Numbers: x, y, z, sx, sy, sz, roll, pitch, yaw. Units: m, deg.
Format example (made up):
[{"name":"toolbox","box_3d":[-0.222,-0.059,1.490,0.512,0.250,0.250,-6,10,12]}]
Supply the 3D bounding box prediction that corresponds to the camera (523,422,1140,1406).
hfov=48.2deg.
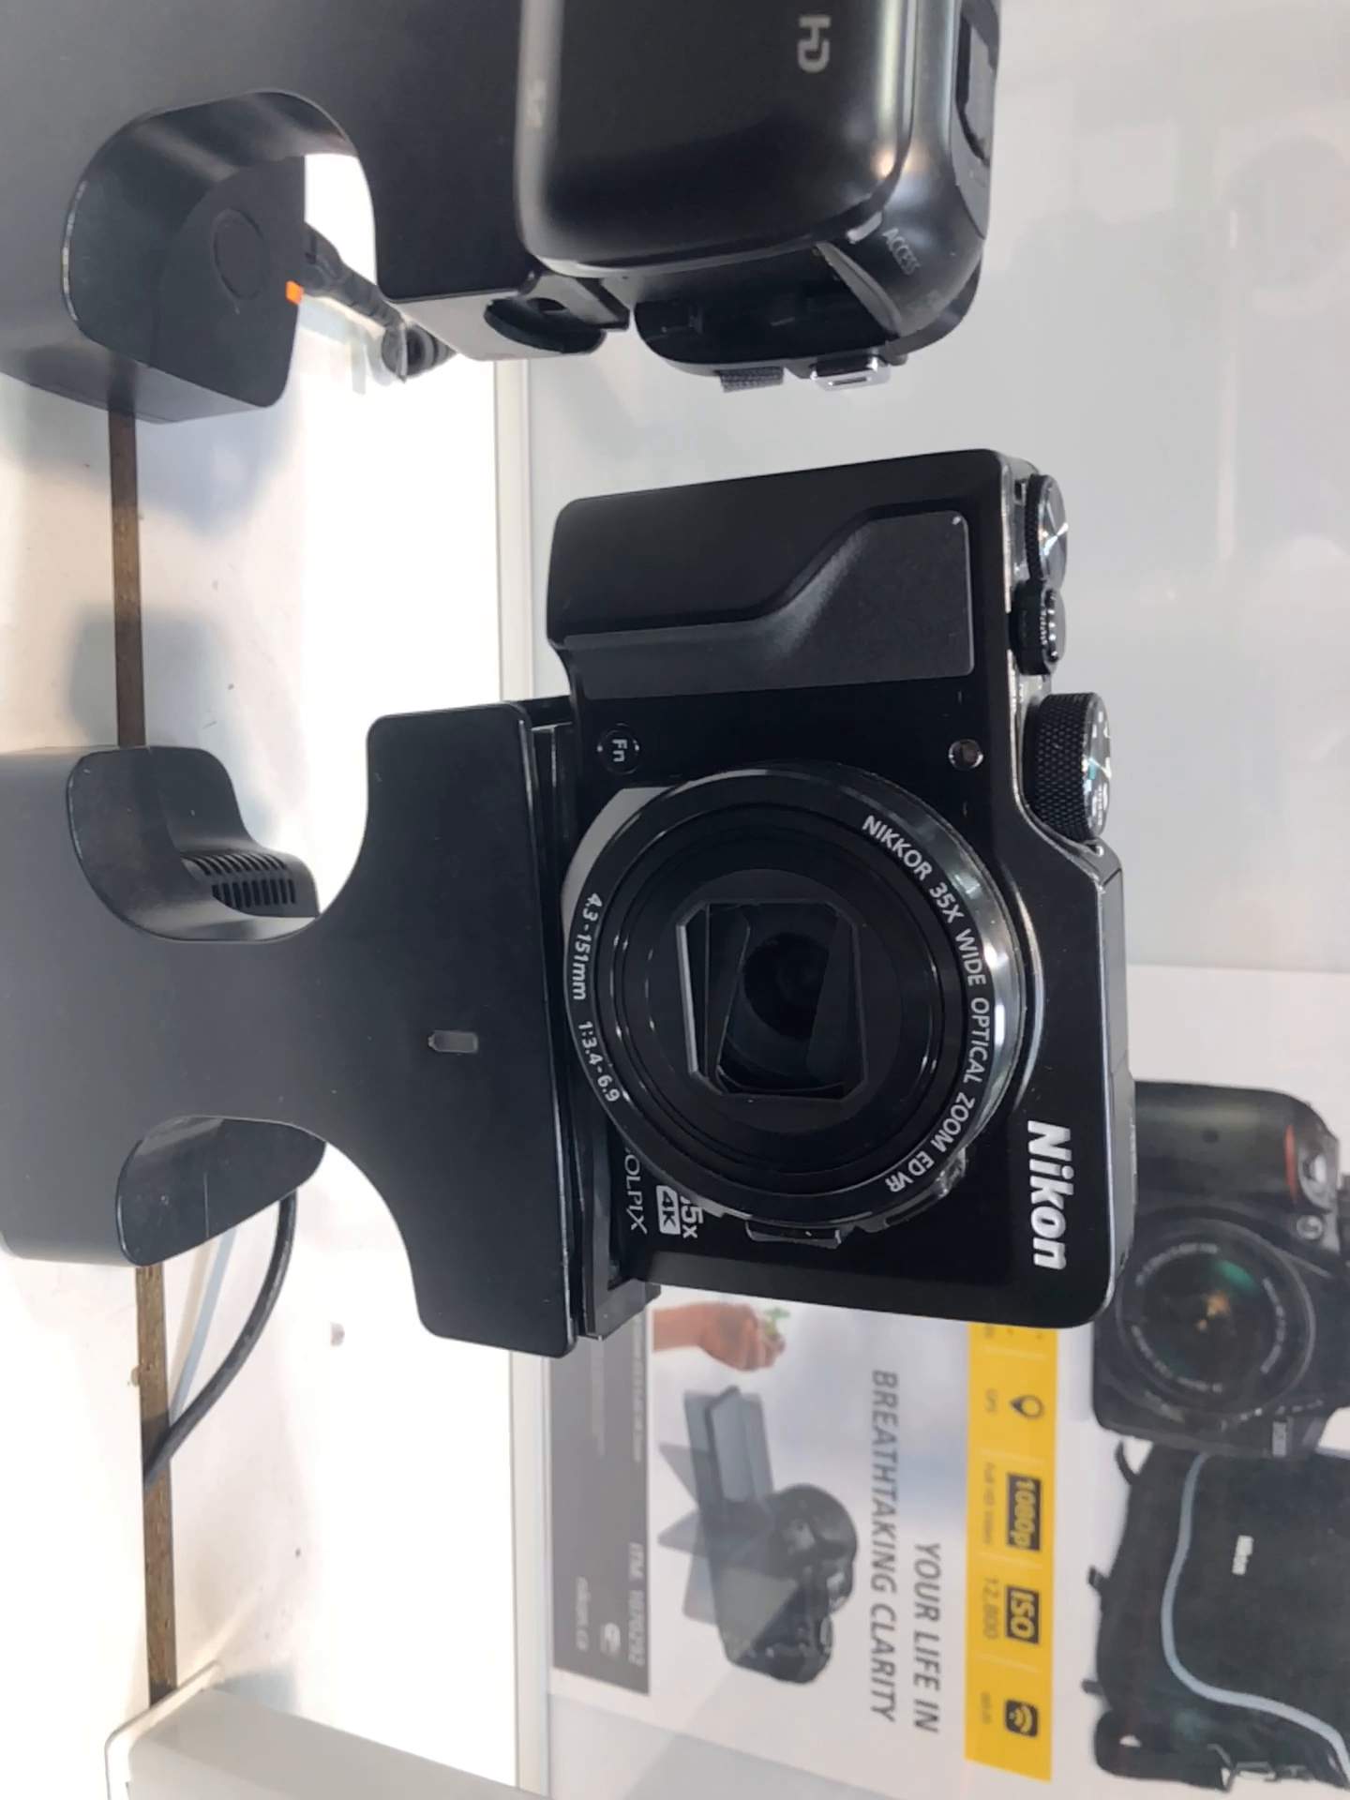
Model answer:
[{"name":"camera","box_3d":[0.025,0.000,0.204,0.044,0.069,0.116,-36,125,-66]}]
